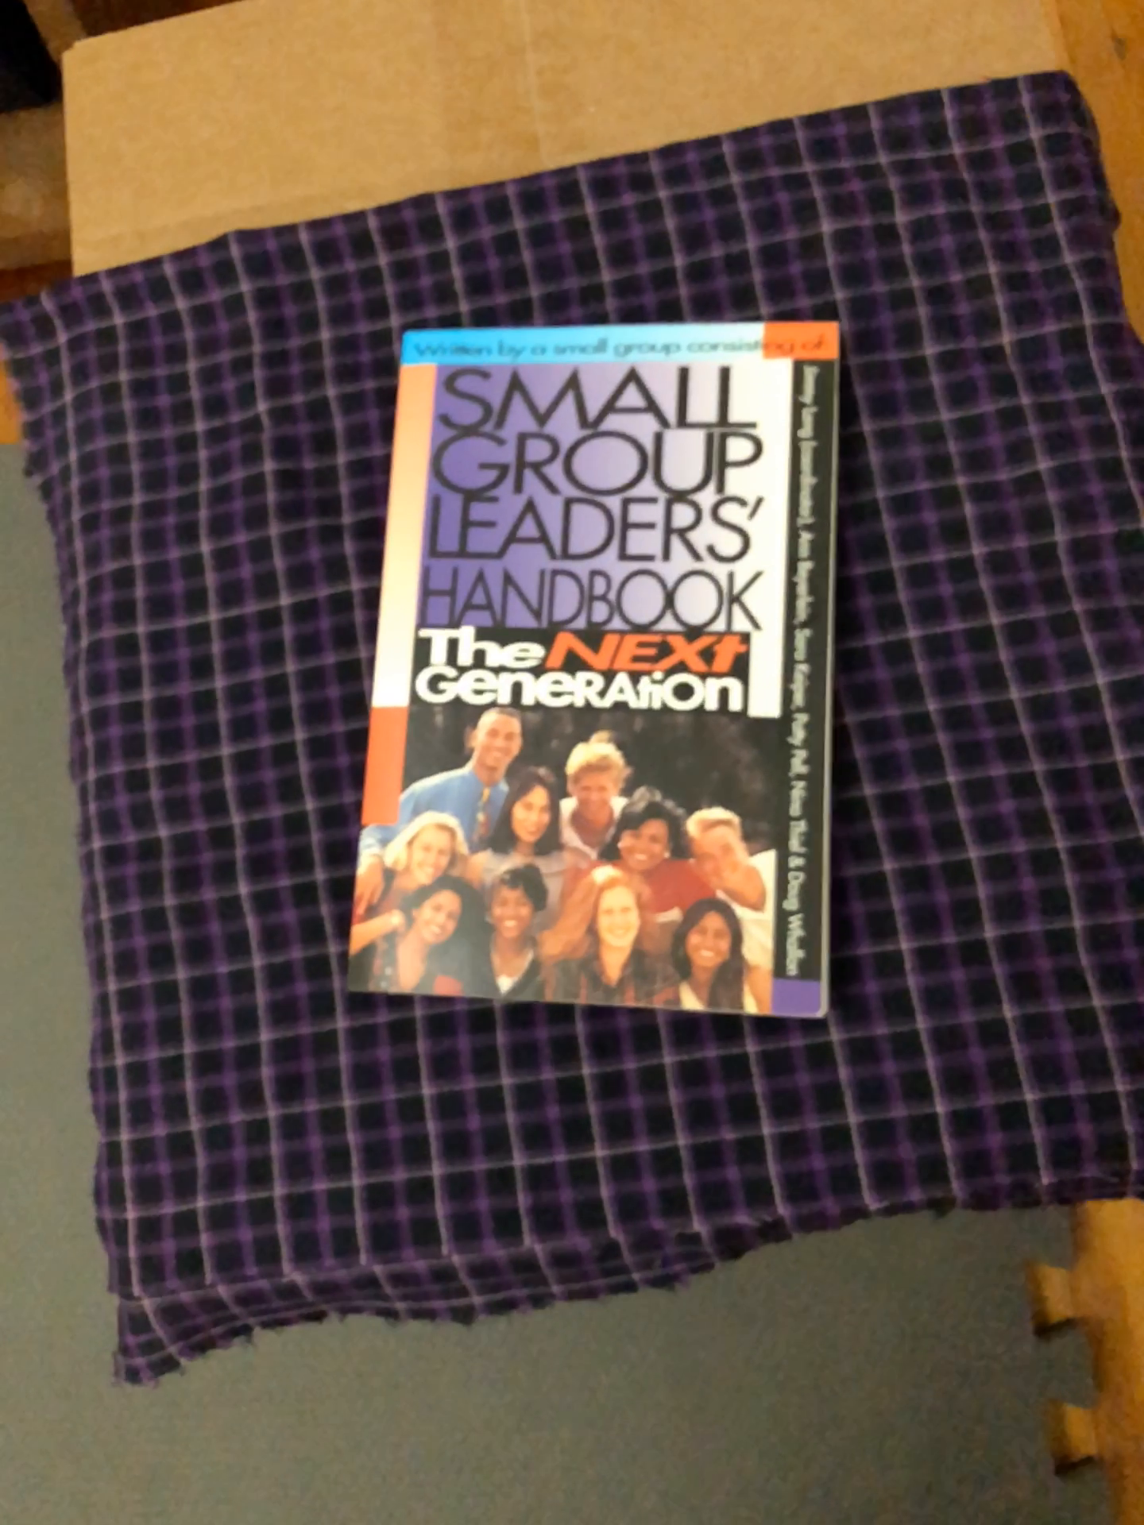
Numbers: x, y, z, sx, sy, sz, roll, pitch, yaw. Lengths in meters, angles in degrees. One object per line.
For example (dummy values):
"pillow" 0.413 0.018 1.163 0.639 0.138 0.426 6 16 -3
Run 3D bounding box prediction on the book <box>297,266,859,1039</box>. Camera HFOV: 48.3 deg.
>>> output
"book" 0.006 -0.036 0.377 0.150 0.030 0.220 2 80 9
